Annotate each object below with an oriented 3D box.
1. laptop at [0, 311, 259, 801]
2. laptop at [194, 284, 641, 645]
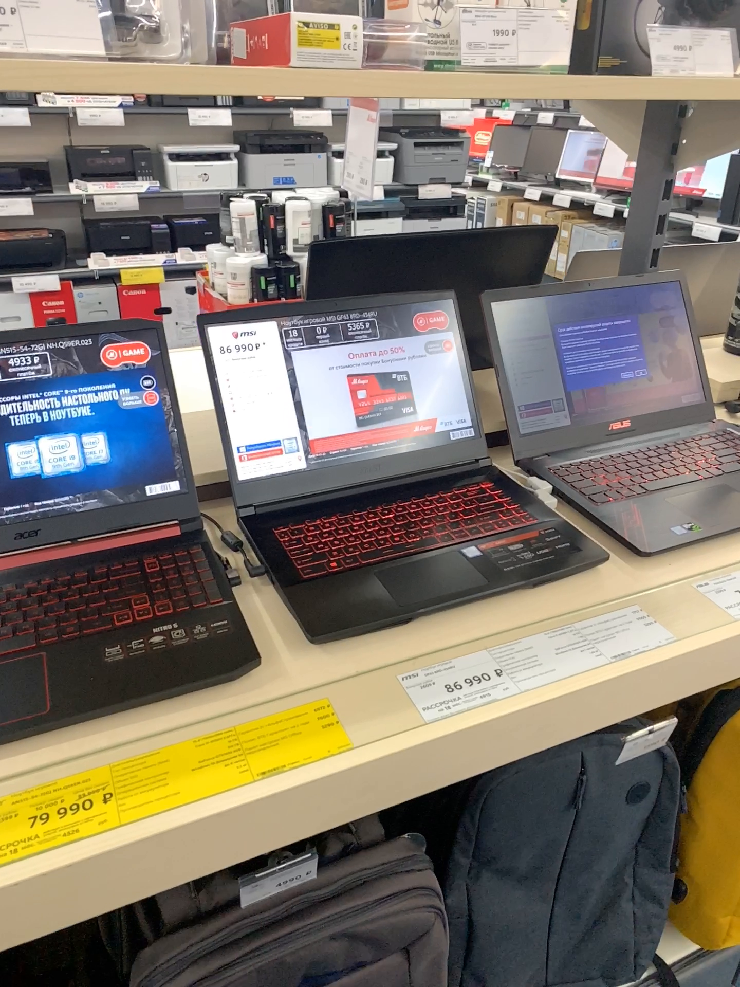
[{"bbox_3d":[-0.315,0.003,0.694,0.334,0.211,0.373,-11,31,-21],"label":"laptop"},{"bbox_3d":[0.028,-0.073,0.859,0.351,0.204,0.371,-12,32,-23],"label":"laptop"}]
